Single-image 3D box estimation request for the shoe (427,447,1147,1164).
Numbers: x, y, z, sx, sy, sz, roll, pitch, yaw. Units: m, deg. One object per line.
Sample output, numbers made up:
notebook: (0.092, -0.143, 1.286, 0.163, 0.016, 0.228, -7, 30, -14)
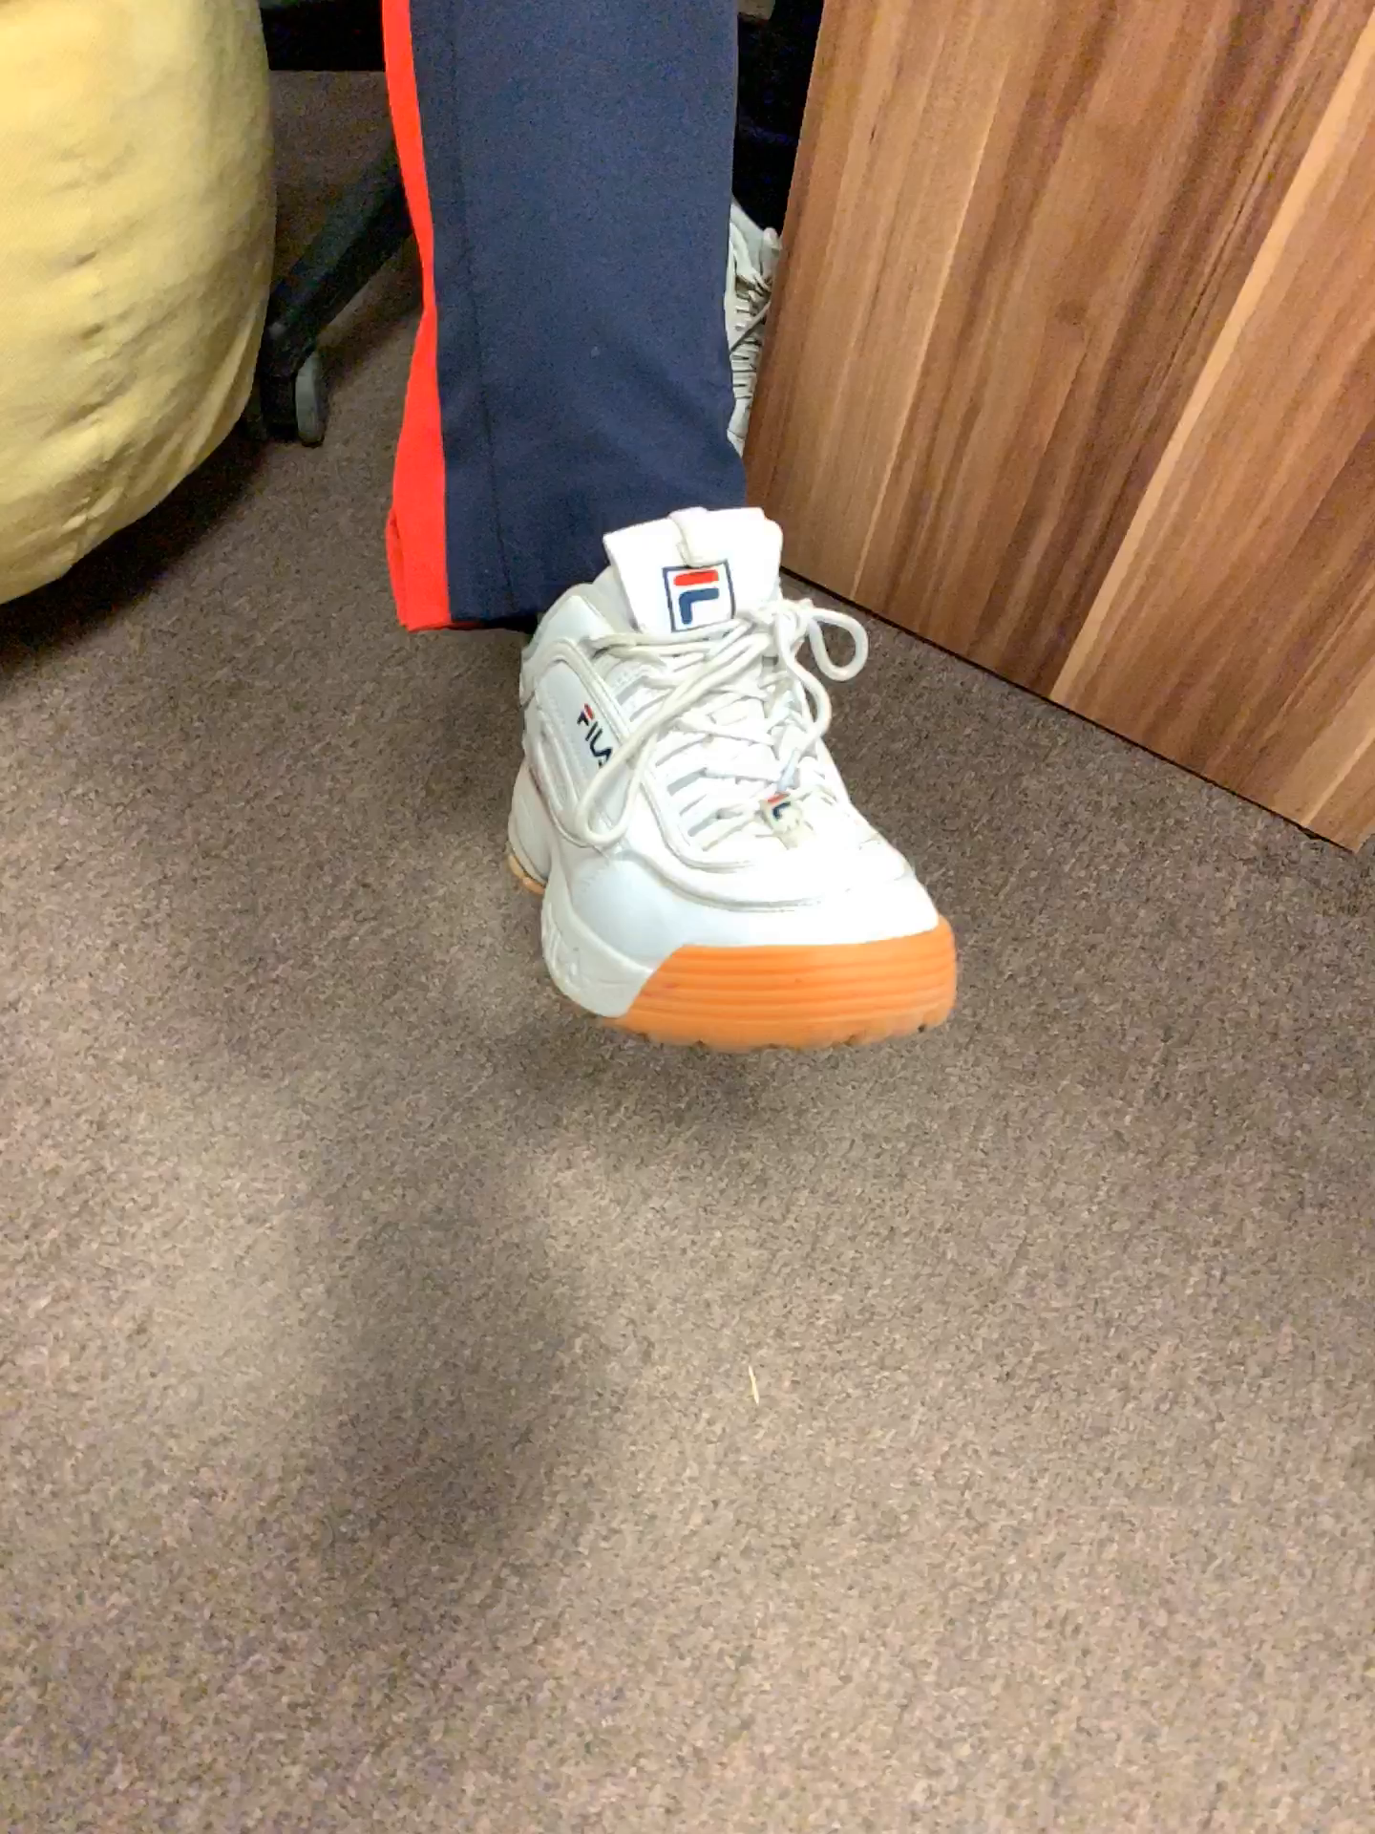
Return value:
shoe: (0.007, -0.055, 0.454, 0.130, 0.130, 0.231, -6, 33, -22)
